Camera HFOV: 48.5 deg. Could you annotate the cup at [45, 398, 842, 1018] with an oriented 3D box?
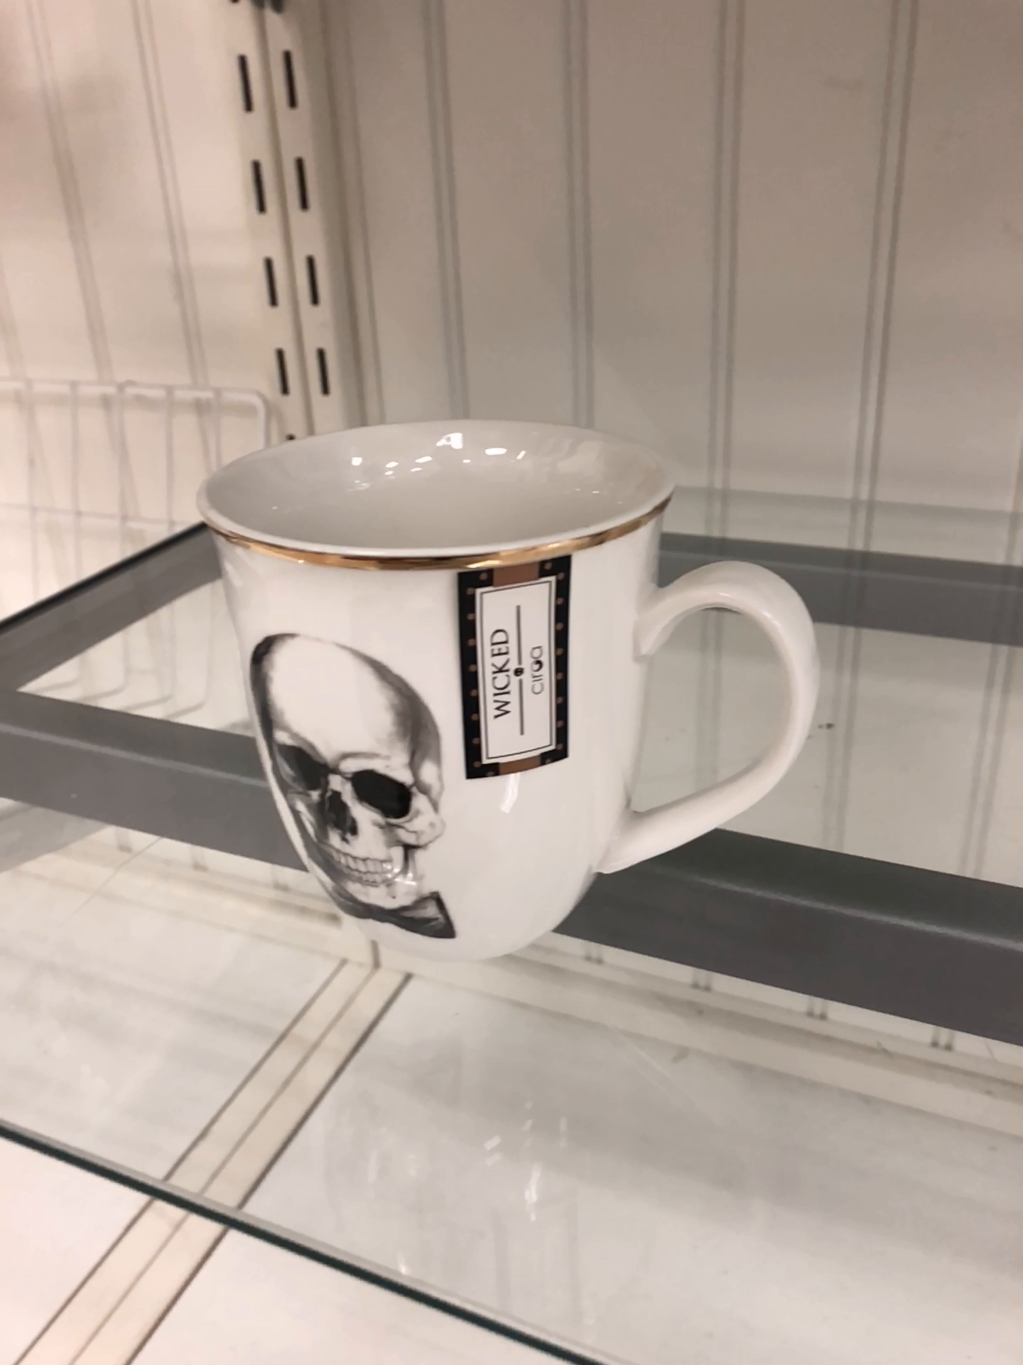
[{"bbox_3d":[-0.003,-0.005,0.239,0.131,0.088,0.095,3,26,13],"label":"cup"}]
